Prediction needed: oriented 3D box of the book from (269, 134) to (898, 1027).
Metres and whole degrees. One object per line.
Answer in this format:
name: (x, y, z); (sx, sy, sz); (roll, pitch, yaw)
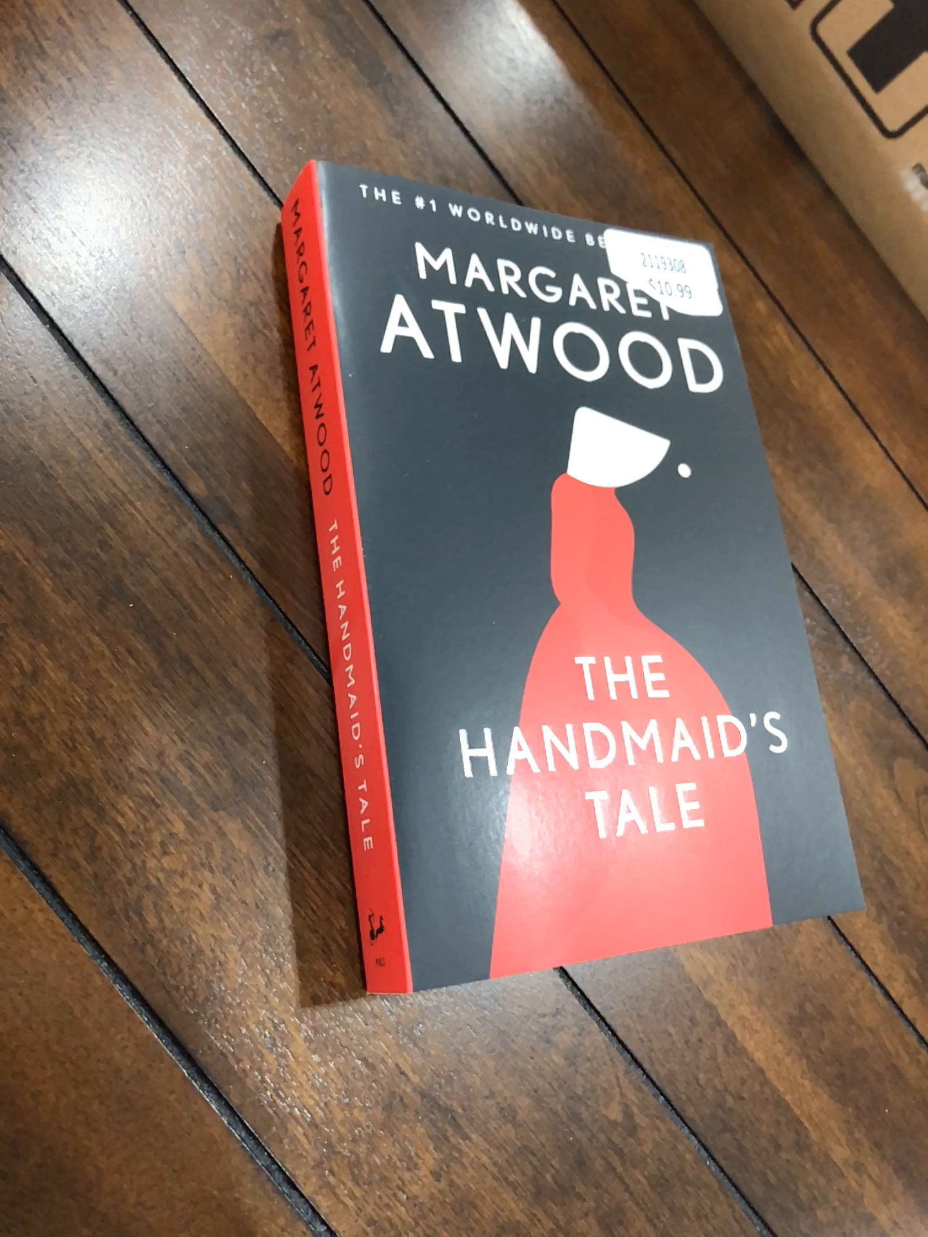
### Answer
book: (0.029, -0.015, 0.273); (0.138, 0.030, 0.207); (0, 72, -29)
